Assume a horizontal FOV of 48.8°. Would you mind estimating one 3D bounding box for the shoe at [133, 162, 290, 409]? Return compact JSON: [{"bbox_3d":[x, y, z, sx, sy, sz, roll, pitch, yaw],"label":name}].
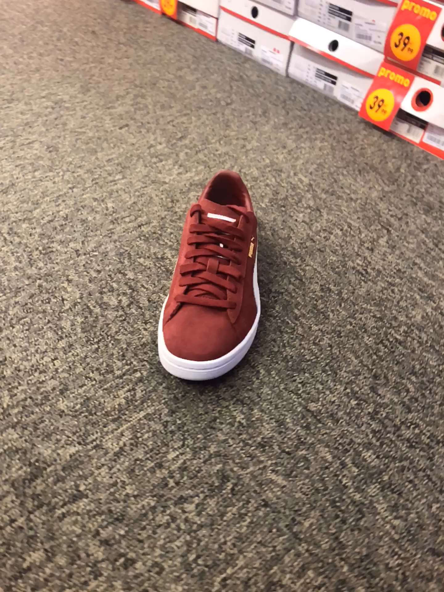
[{"bbox_3d":[0.000,-0.026,0.485,0.100,0.080,0.252,11,46,4],"label":"shoe"}]
